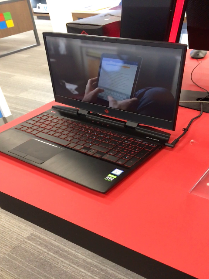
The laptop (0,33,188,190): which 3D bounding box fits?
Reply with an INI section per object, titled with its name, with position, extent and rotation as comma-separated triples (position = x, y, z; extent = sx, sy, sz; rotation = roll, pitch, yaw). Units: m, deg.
[laptop]
position = -0.070, -0.086, 0.622
extent = 0.359, 0.222, 0.257
rotation = 20, 46, 30
